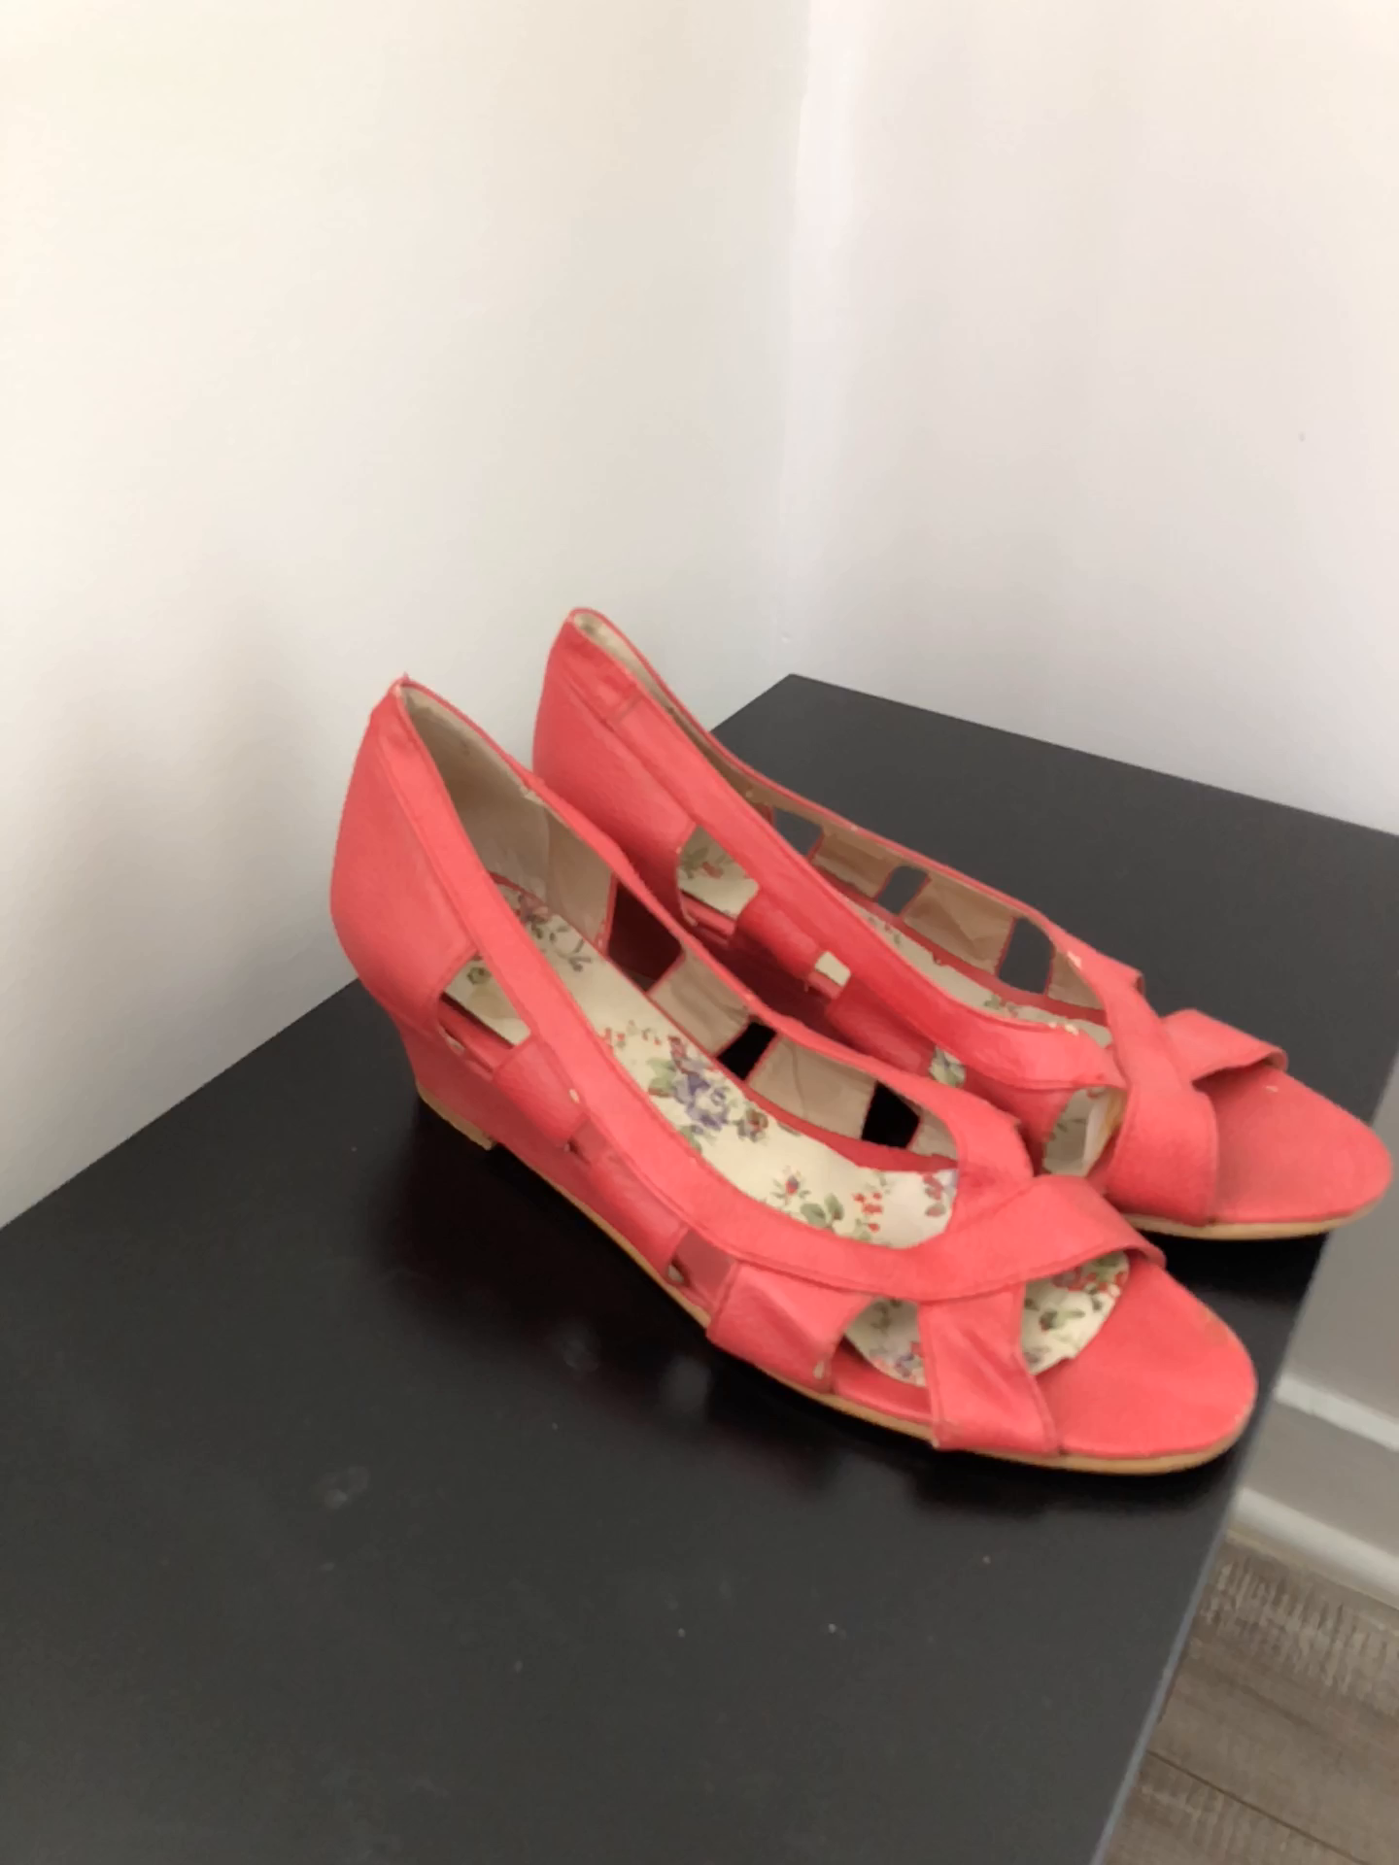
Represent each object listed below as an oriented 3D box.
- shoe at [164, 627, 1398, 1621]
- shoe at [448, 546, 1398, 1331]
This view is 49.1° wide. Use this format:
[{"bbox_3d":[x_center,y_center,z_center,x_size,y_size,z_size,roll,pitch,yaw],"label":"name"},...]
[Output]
[{"bbox_3d":[0.011,0.023,0.312,0.220,0.100,0.088,19,36,24],"label":"shoe"},{"bbox_3d":[0.058,-0.011,0.369,0.230,0.100,0.078,19,36,24],"label":"shoe"}]
